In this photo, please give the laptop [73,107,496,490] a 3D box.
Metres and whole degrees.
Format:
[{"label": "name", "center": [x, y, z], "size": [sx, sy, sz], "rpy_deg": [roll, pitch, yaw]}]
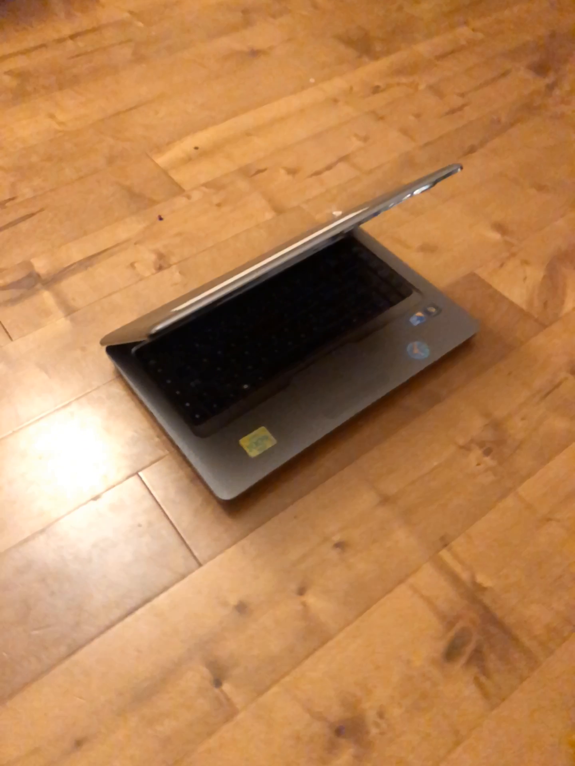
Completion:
[{"label": "laptop", "center": [0.003, -0.105, 0.667], "size": [0.347, 0.164, 0.223], "rpy_deg": [-32, 61, -23]}]
